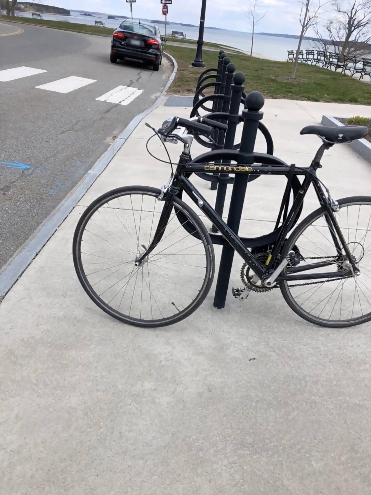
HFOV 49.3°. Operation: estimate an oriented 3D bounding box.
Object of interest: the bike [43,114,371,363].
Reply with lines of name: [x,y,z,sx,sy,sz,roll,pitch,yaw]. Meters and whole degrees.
bike: [0.246,-0.036,1.592,1.382,0.806,0.488,2,28,-2]
